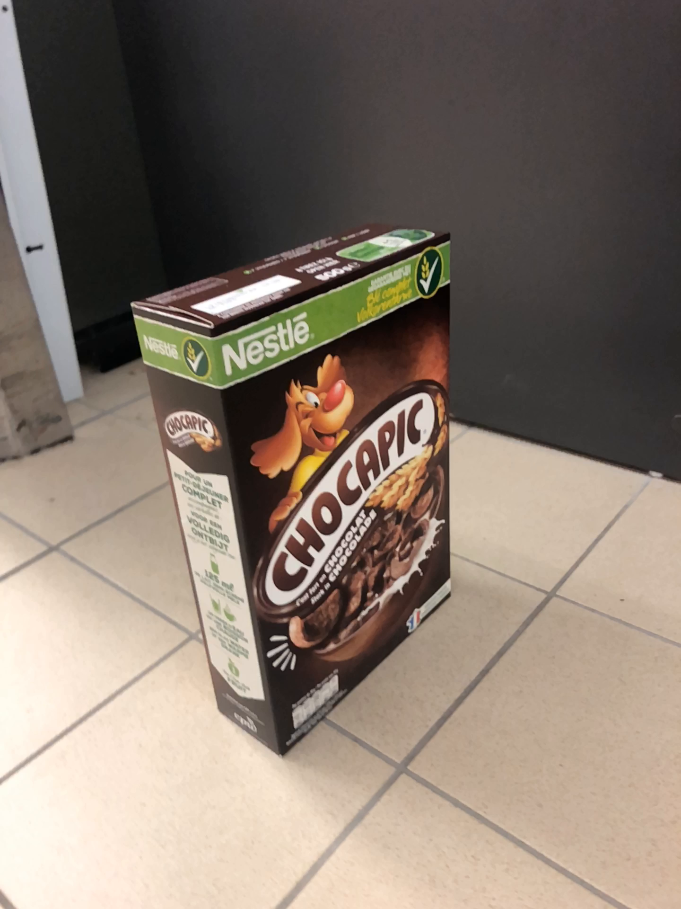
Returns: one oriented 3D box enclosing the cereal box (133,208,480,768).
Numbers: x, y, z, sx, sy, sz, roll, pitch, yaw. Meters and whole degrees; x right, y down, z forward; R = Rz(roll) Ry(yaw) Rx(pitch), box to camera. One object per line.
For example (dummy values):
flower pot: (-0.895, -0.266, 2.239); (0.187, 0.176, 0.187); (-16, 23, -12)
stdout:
cereal box: (0.000, 0.014, 0.476); (0.070, 0.288, 0.201); (20, 36, 37)

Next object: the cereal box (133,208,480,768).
cereal box: (0.000, 0.014, 0.476); (0.070, 0.288, 0.201); (20, 36, 37)
